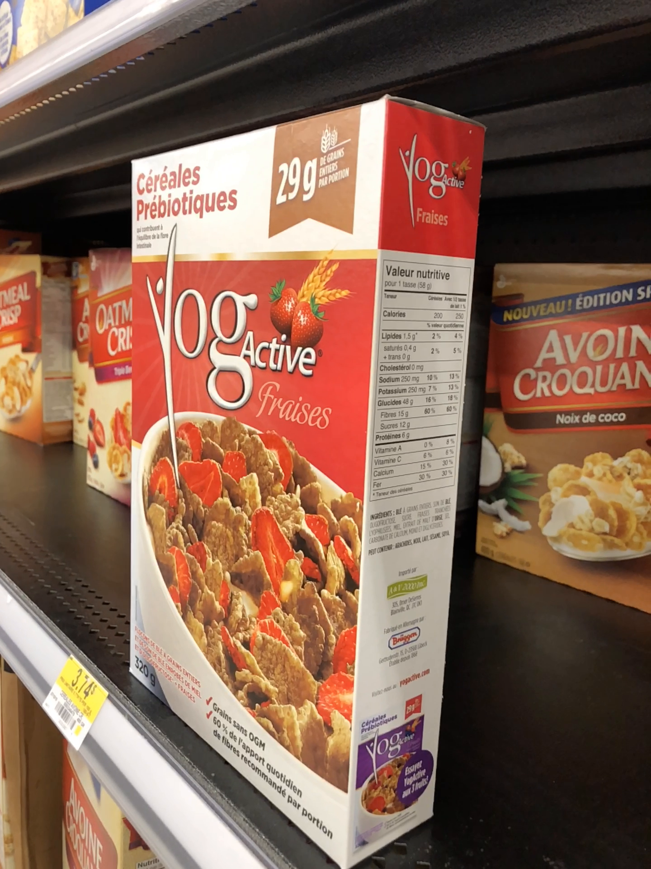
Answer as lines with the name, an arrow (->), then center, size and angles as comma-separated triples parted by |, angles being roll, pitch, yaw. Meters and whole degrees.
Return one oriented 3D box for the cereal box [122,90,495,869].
cereal box -> -0.028, 0.013, 0.345 | 0.050, 0.289, 0.200 | -6, 13, -40
